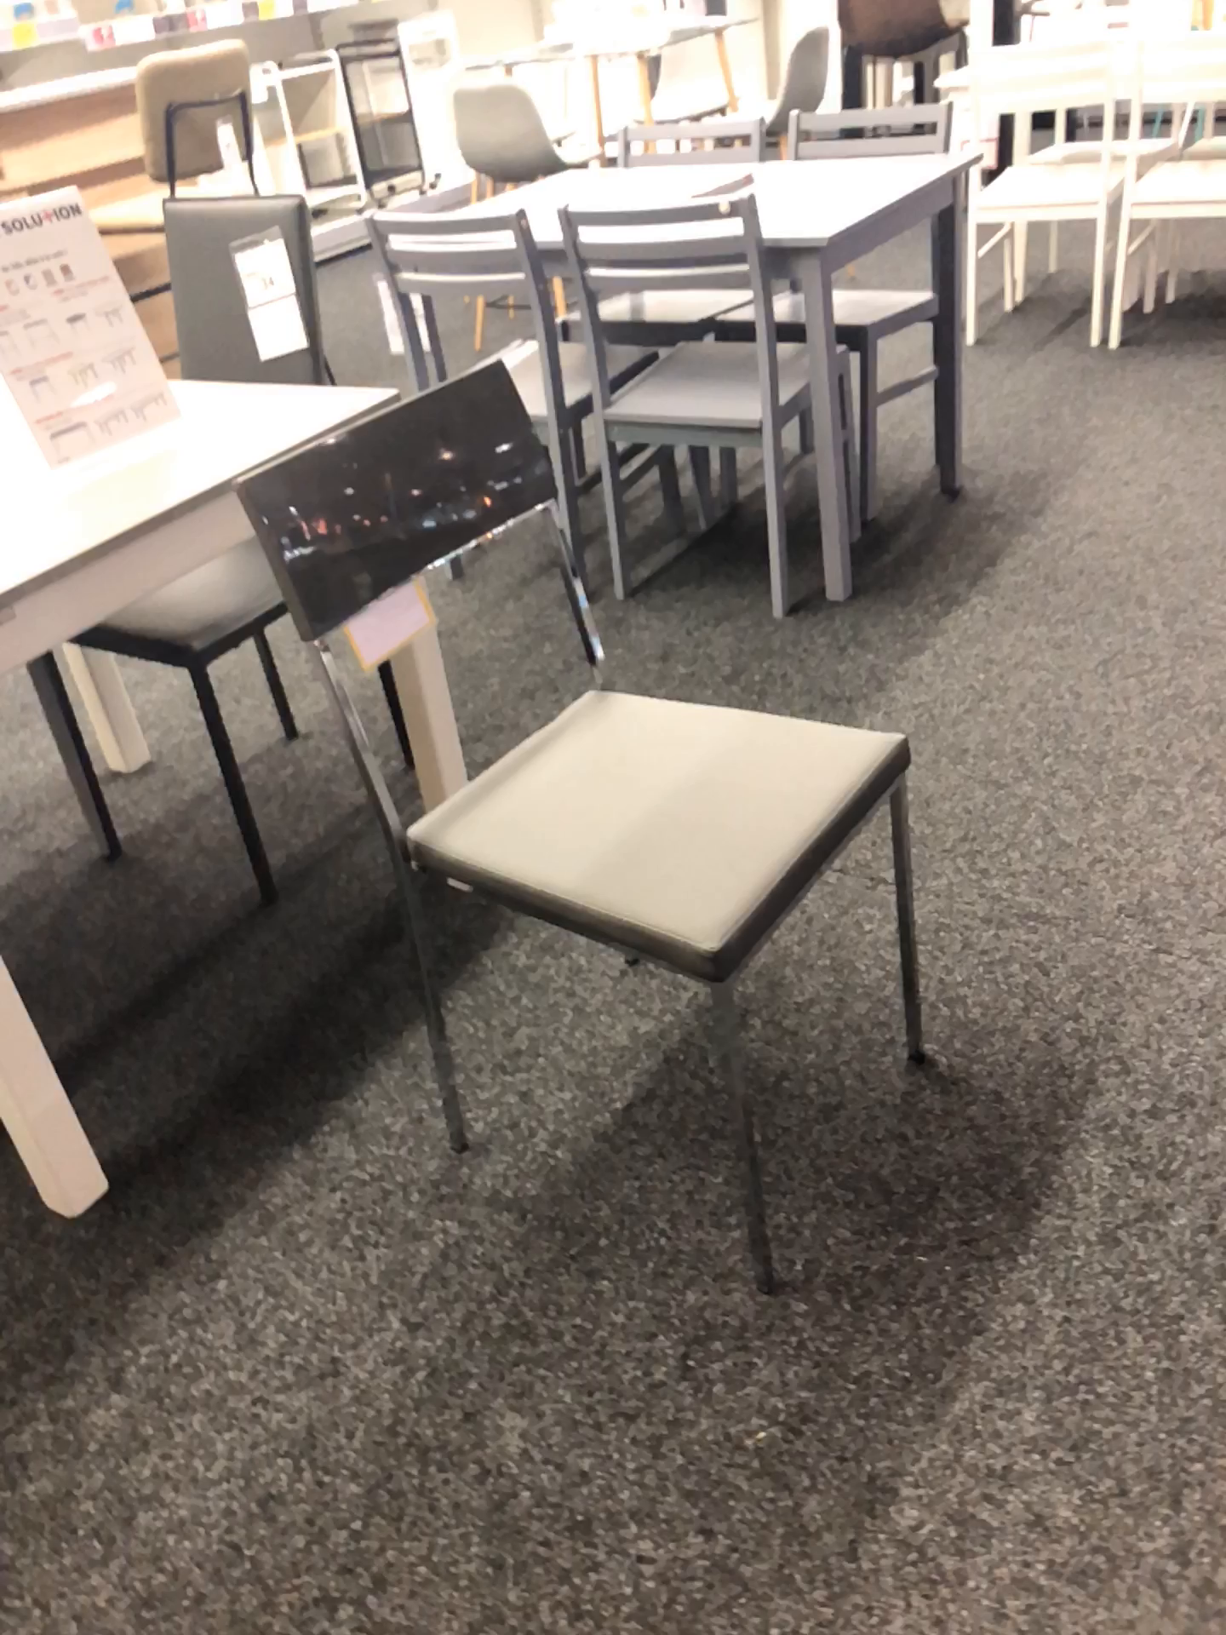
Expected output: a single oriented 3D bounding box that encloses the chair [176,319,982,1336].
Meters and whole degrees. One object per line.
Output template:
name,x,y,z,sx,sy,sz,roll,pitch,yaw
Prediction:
chair,0.030,-0.020,1.436,0.550,0.855,0.493,14,39,32
